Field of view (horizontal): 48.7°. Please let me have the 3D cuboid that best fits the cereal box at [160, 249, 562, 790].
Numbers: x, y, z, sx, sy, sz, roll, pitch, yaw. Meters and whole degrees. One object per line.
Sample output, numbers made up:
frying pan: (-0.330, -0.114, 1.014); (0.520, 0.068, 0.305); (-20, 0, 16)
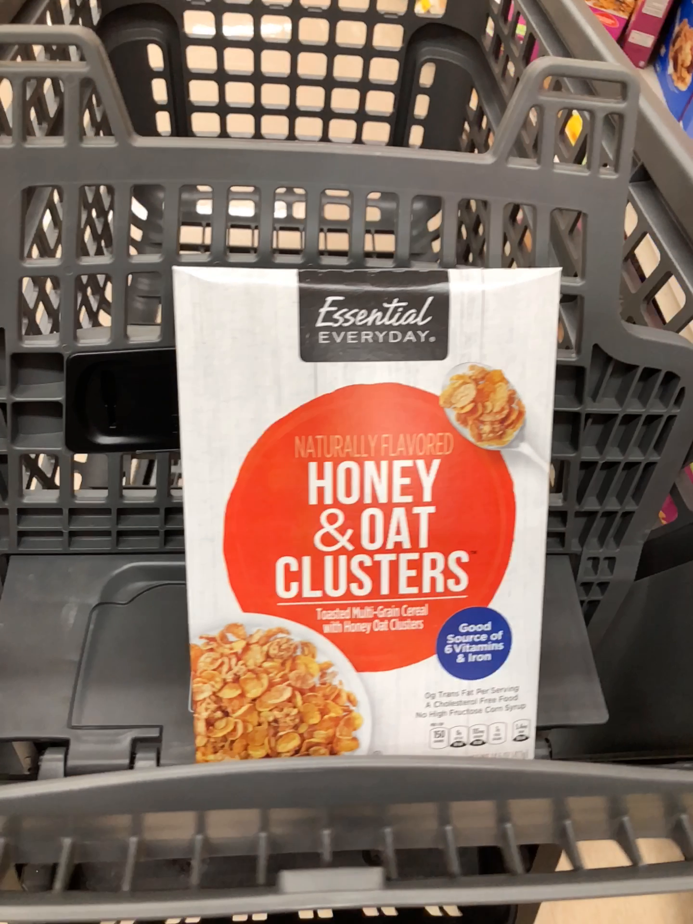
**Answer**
cereal box: (0.005, 0.030, 0.425); (0.190, 0.280, 0.070); (-1, 13, -7)
